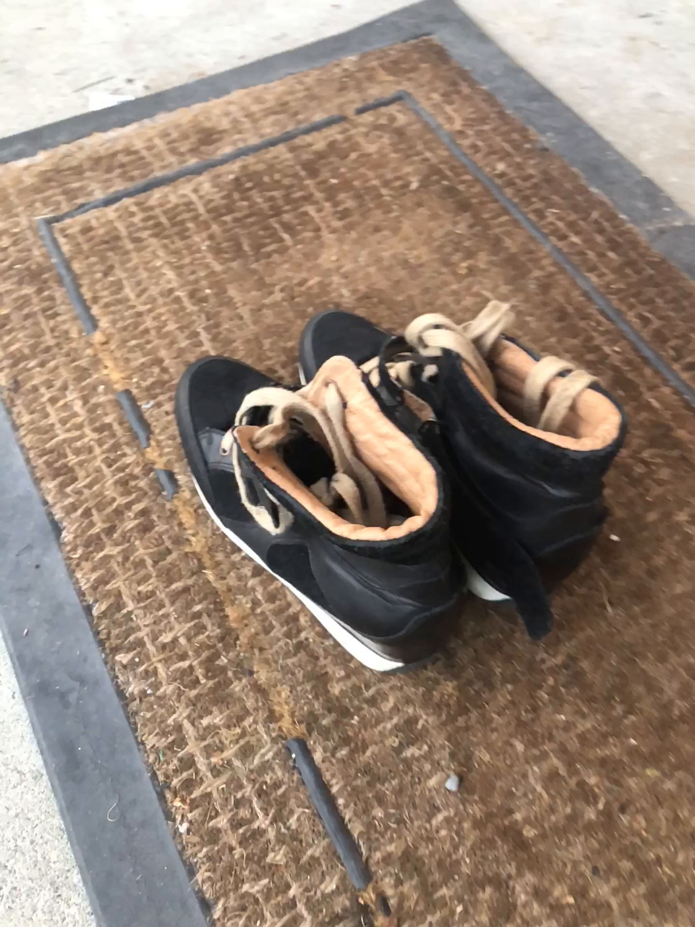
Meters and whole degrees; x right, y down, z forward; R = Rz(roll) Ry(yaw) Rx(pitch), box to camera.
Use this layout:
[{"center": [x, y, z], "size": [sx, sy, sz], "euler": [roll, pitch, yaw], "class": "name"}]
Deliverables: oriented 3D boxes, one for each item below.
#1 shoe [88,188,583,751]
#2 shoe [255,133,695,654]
[{"center": [-0.017, 0.004, 0.401], "size": [0.090, 0.159, 0.241], "euler": [-32, 63, -18], "class": "shoe"}, {"center": [0.058, -0.037, 0.425], "size": [0.090, 0.159, 0.231], "euler": [-32, 63, -18], "class": "shoe"}]
